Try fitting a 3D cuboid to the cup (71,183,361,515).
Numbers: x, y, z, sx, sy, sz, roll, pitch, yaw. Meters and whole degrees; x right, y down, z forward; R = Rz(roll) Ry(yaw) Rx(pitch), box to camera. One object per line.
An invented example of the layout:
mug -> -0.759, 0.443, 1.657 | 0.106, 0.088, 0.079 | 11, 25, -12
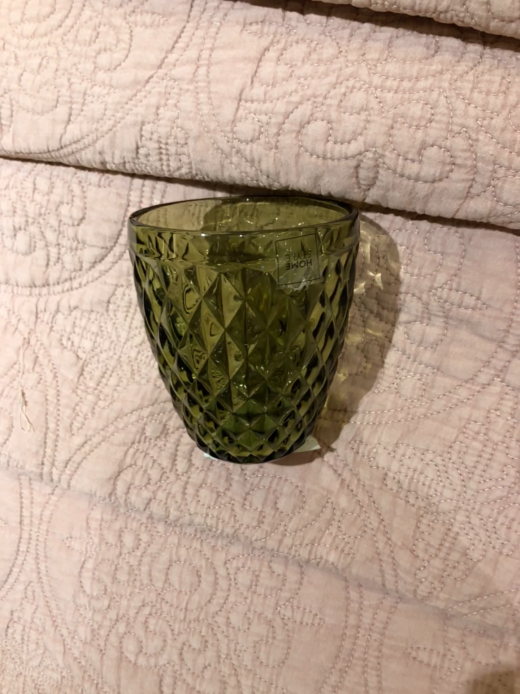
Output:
cup -> -0.009, -0.005, 0.225 | 0.080, 0.070, 0.100 | 7, 117, 18
